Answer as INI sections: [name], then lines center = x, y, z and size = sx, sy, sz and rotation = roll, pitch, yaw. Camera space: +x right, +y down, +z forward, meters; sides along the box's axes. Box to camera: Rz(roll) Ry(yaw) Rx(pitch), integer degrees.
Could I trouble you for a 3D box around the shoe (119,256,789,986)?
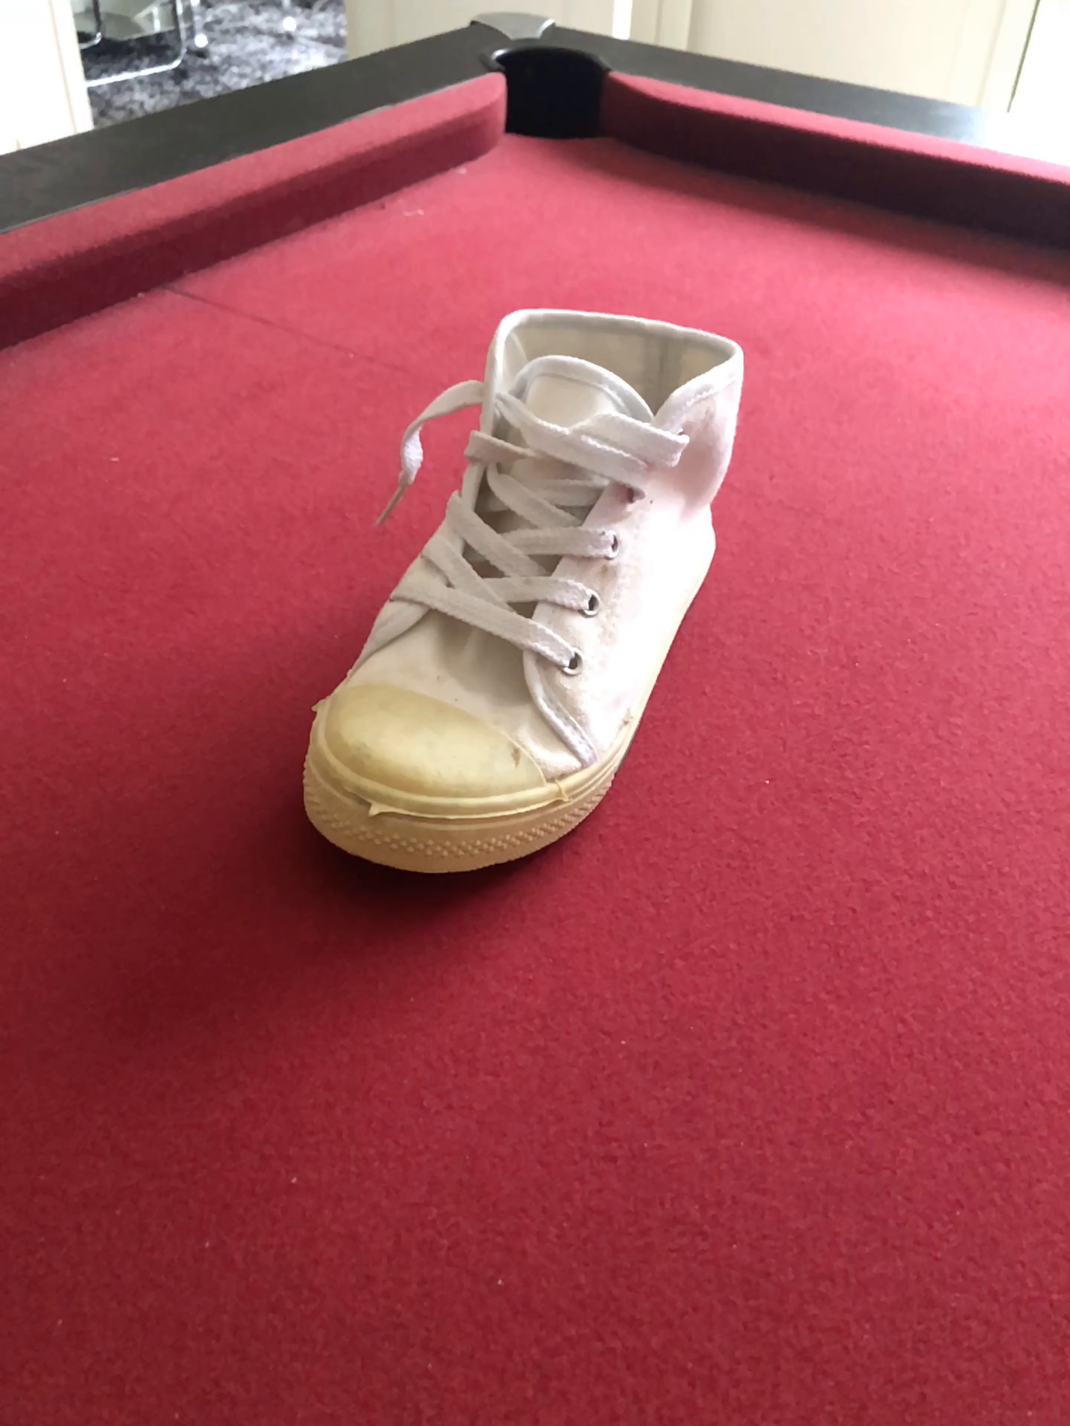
[shoe]
center = -0.005, -0.047, 0.350
size = 0.100, 0.089, 0.221
rotation = 16, 42, 14
